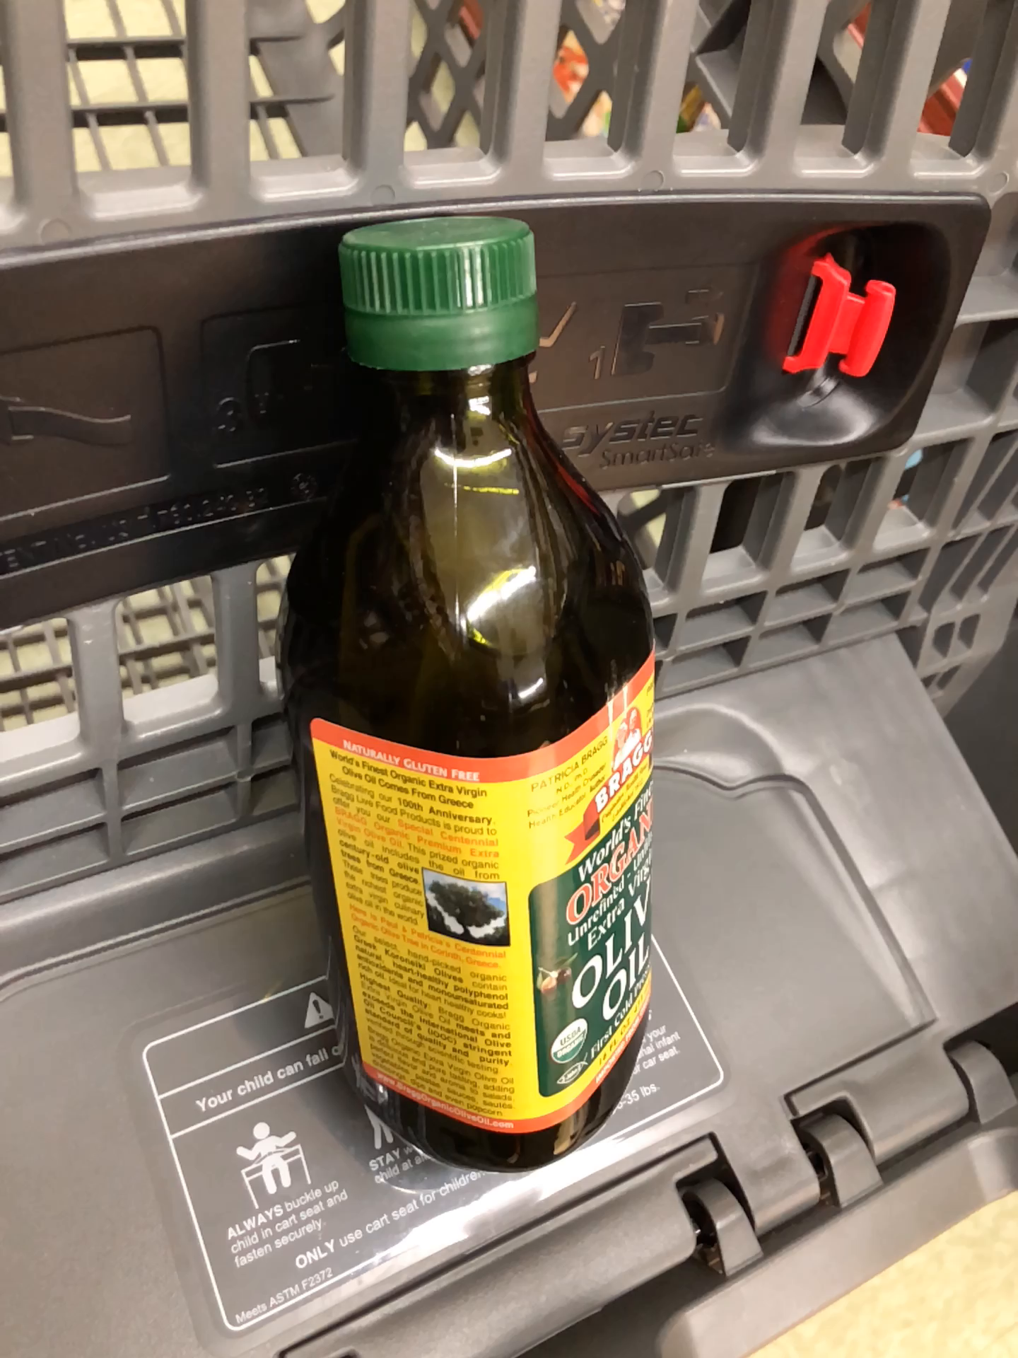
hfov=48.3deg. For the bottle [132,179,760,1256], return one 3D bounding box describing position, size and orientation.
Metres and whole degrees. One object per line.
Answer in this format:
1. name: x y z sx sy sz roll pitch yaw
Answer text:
1. bottle: -0.005 0.008 0.230 0.070 0.192 0.080 15 32 26
